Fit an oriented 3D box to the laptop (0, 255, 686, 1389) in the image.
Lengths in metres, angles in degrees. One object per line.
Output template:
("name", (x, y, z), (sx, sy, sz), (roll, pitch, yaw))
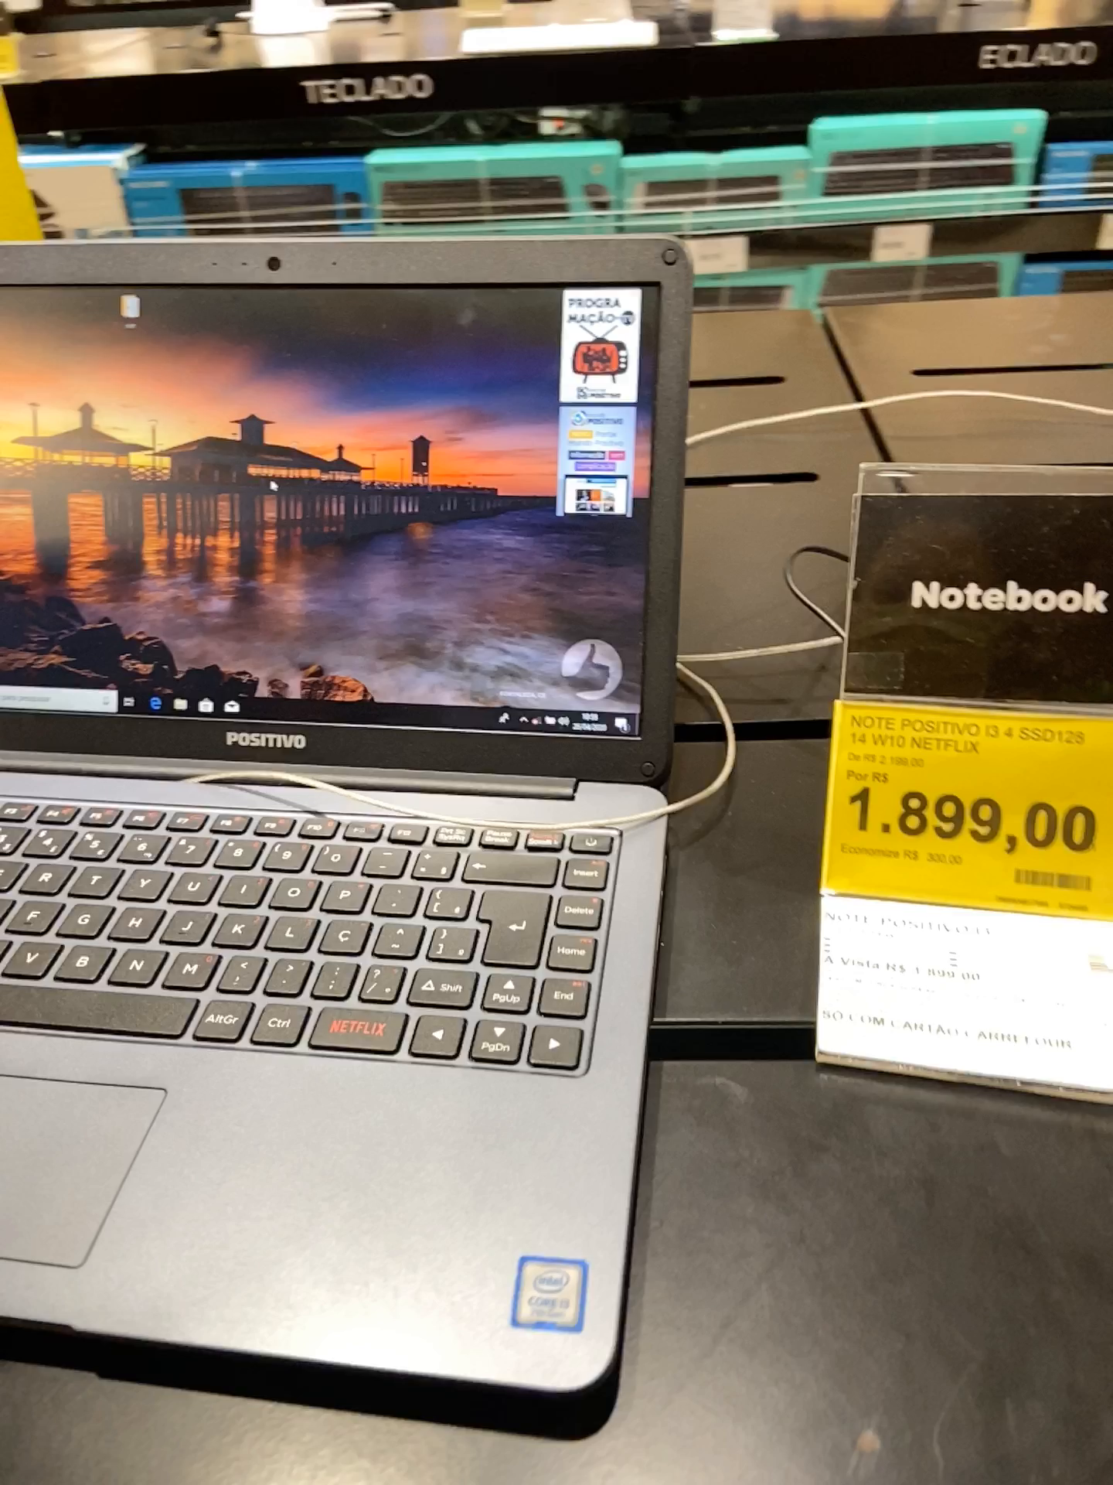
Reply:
("laptop", (-0.134, -0.025, 0.380), (0.331, 0.172, 0.343), (3, 37, 8))
